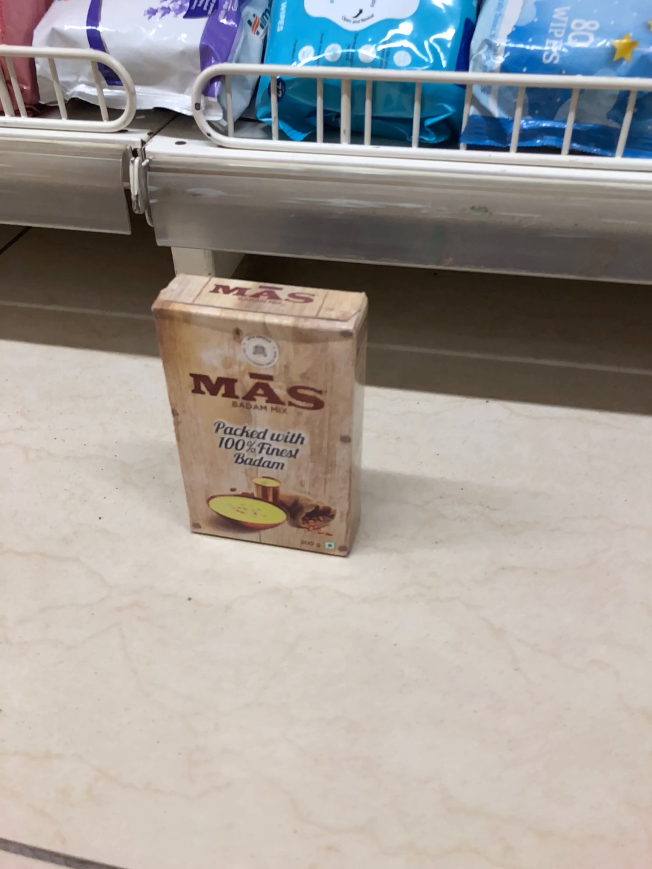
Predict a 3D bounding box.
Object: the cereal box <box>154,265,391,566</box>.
[{"bbox_3d":[-0.021,-0.006,0.335,0.090,0.129,0.040,9,38,10],"label":"cereal box"}]
